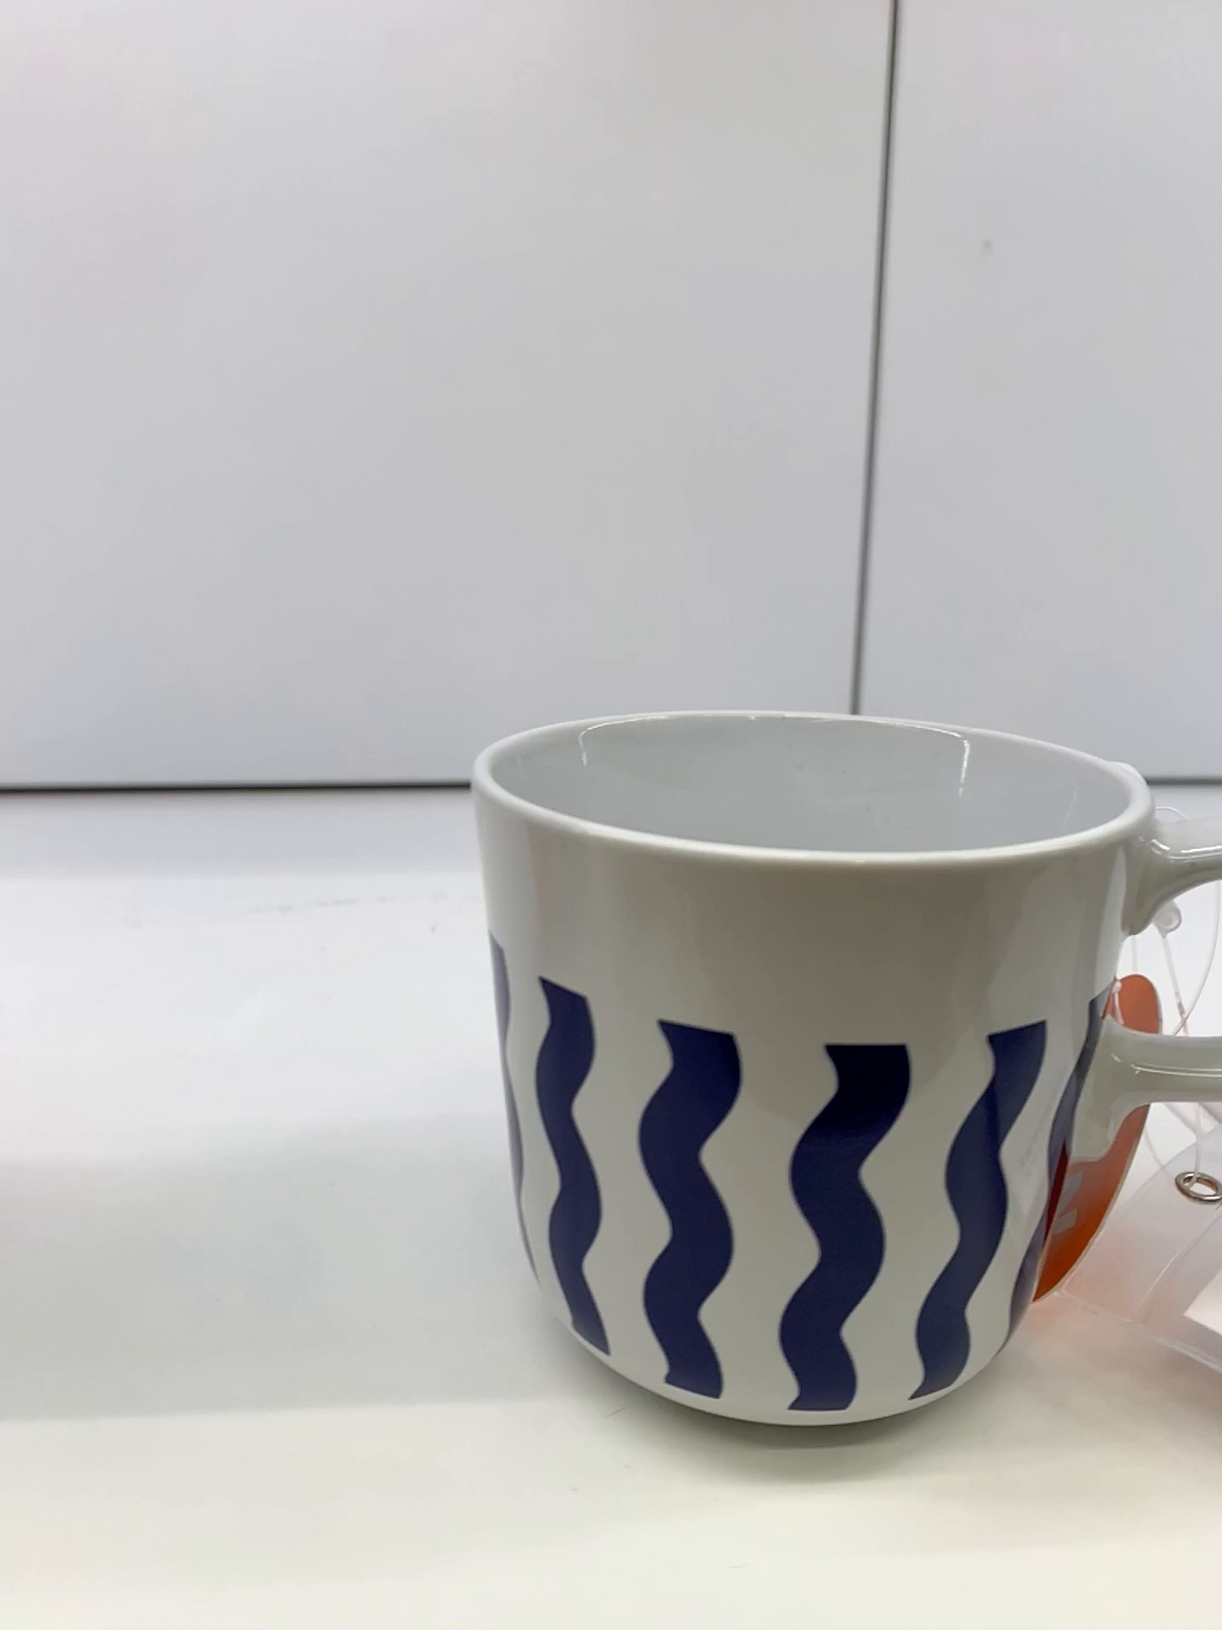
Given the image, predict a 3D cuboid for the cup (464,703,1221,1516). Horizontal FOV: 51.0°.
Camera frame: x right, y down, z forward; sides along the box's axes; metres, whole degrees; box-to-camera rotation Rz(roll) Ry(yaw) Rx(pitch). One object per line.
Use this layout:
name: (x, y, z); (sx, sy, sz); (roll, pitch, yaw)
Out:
cup: (0.034, 0.027, 0.164); (0.101, 0.071, 0.076); (-1, 13, -4)
